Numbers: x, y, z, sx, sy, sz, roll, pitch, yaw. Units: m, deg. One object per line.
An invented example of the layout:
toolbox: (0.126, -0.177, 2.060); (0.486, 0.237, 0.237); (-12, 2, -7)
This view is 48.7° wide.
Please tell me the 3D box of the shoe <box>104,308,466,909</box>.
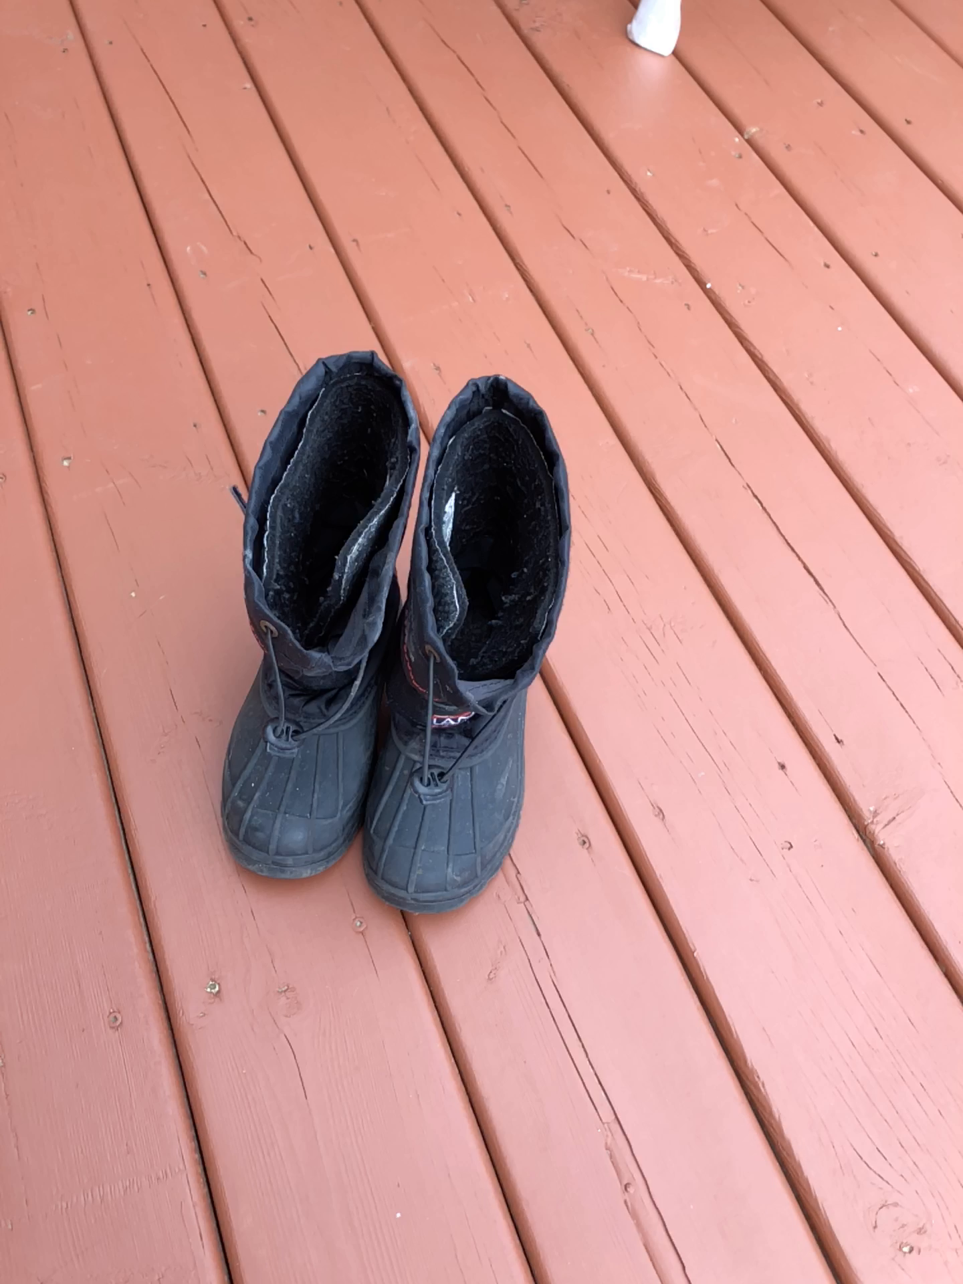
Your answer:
shoe: (-0.081, -0.006, 0.558); (0.100, 0.230, 0.210); (10, 59, 4)

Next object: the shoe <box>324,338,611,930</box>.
shoe: (-0.004, 0.007, 0.556); (0.100, 0.230, 0.210); (7, 58, 1)
